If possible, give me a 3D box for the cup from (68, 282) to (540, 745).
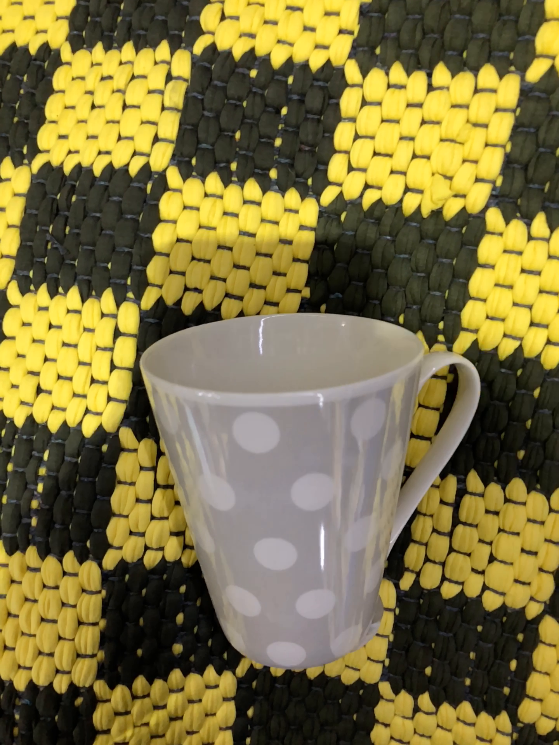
[{"bbox_3d":[0.010,0.032,0.212,0.120,0.090,0.100,-17,113,-36],"label":"cup"}]
